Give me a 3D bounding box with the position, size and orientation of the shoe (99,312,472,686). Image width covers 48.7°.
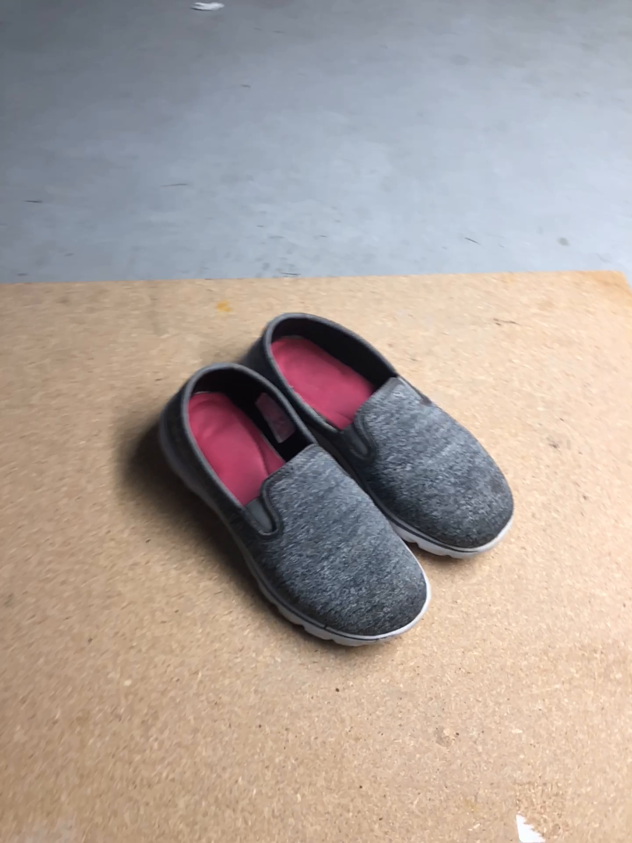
[{"bbox_3d":[-0.028,0.044,0.483,0.100,0.070,0.250,-38,66,-23],"label":"shoe"}]

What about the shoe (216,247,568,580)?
[{"bbox_3d":[0.046,-0.014,0.528,0.100,0.073,0.250,-38,66,-23],"label":"shoe"}]
